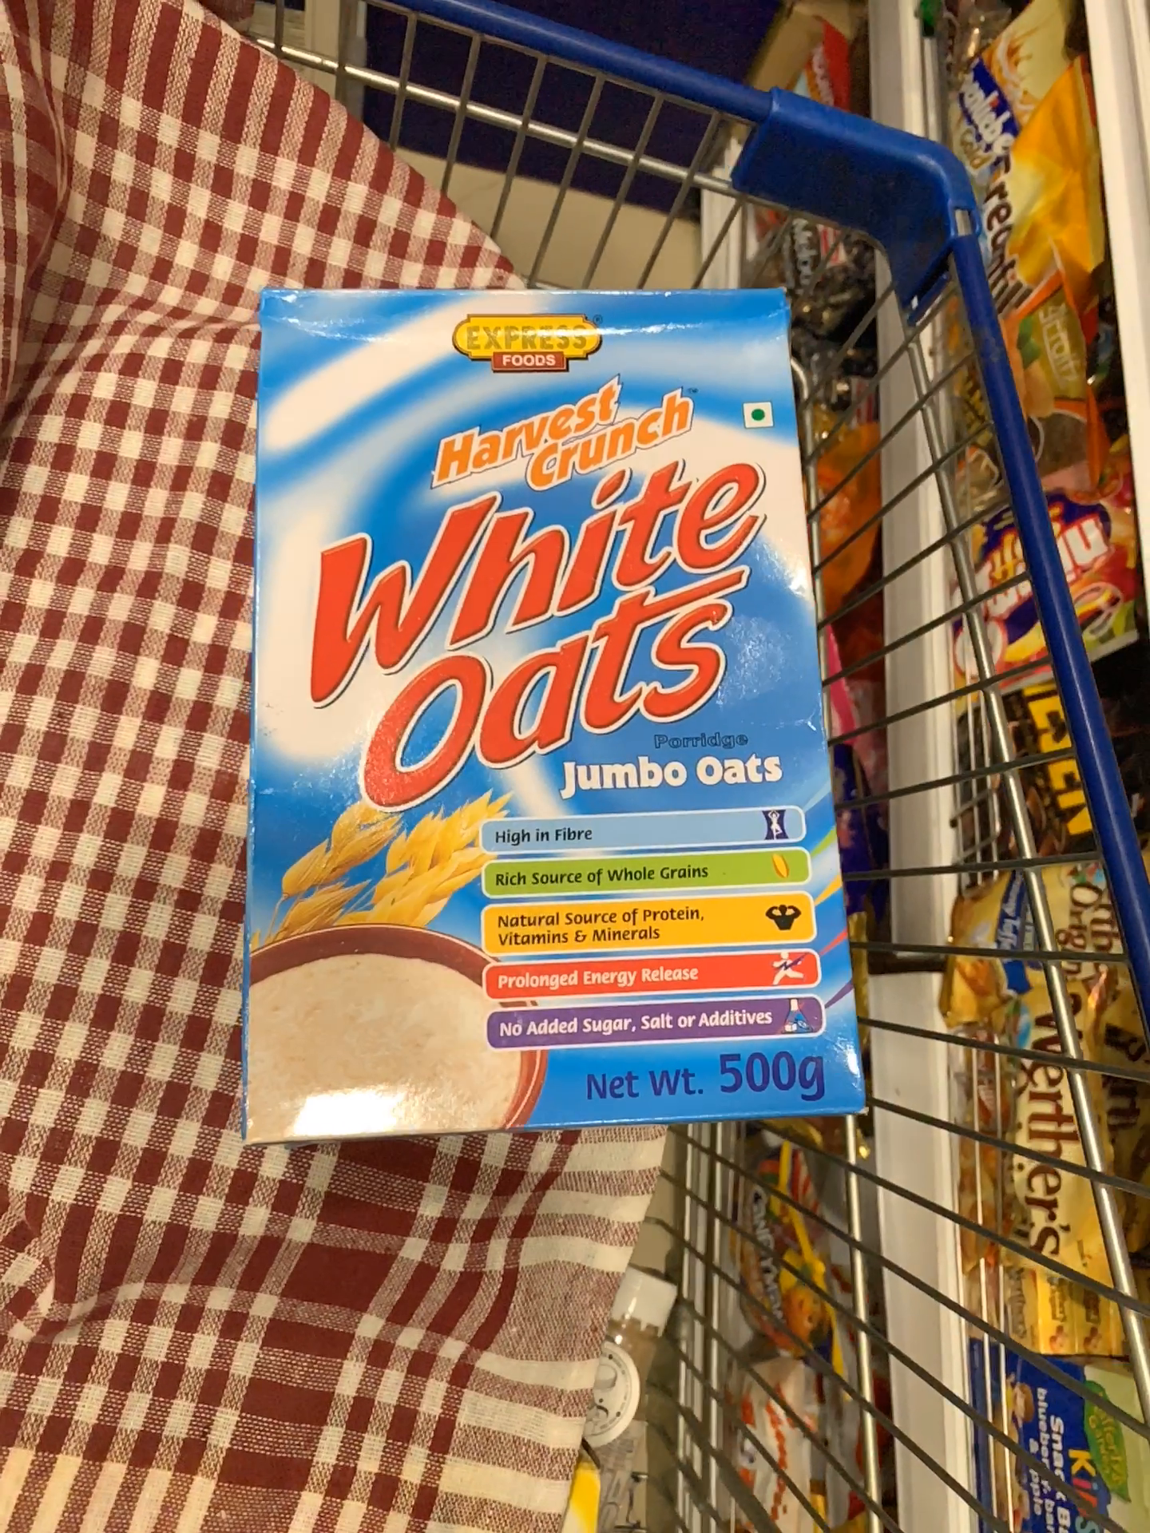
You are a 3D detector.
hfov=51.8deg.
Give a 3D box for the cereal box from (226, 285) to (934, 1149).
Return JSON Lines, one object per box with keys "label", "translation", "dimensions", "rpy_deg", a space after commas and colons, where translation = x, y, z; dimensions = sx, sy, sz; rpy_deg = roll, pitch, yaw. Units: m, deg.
{"label": "cereal box", "translation": [-0.004, -0.014, 0.301], "dimensions": [0.150, 0.060, 0.200], "rpy_deg": [-1, 77, -6]}
